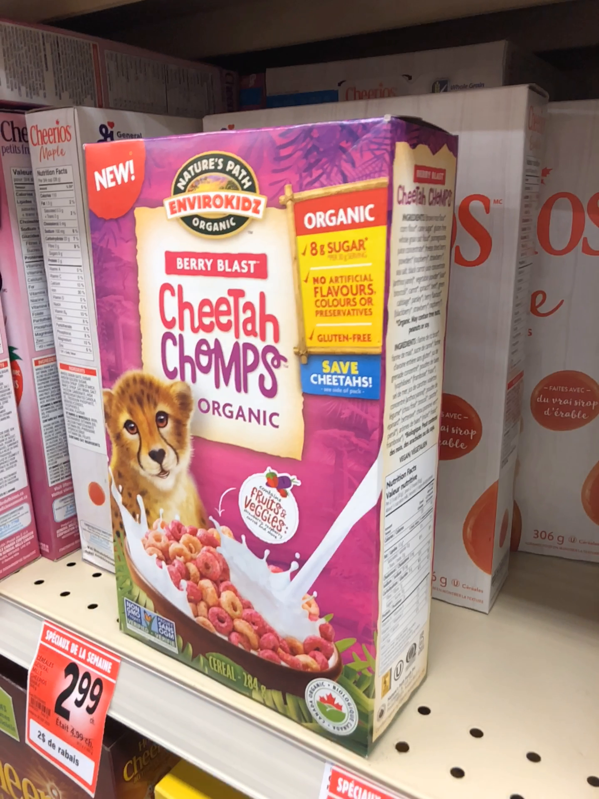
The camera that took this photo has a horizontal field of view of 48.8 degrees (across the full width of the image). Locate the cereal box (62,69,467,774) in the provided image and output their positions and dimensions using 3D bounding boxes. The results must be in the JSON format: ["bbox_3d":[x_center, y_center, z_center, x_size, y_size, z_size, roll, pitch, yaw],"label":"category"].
[{"bbox_3d":[-0.021,0.005,0.307,0.160,0.259,0.070,10,17,35],"label":"cereal box"}]
